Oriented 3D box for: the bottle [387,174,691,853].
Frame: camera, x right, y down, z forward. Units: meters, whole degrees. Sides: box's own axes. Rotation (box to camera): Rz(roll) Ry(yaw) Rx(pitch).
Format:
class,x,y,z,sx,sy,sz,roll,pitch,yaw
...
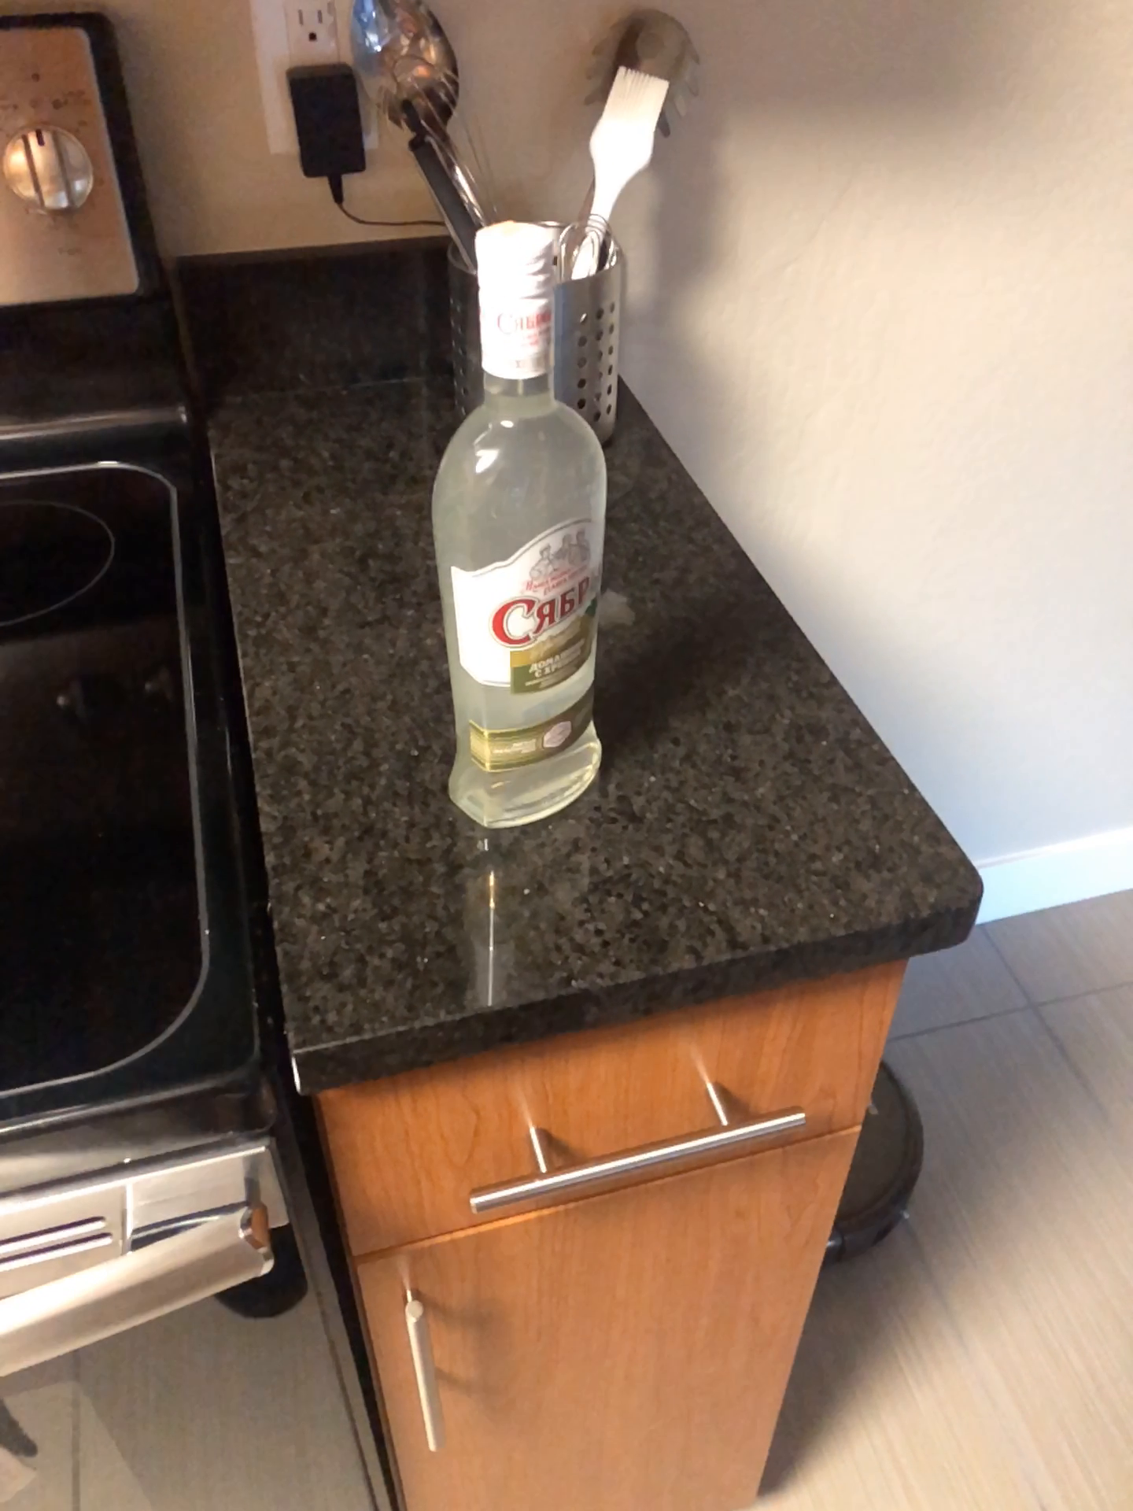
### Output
class,x,y,z,sx,sy,sz,roll,pitch,yaw
bottle,-0.011,-0.090,0.532,0.090,0.269,0.060,-25,47,-27
